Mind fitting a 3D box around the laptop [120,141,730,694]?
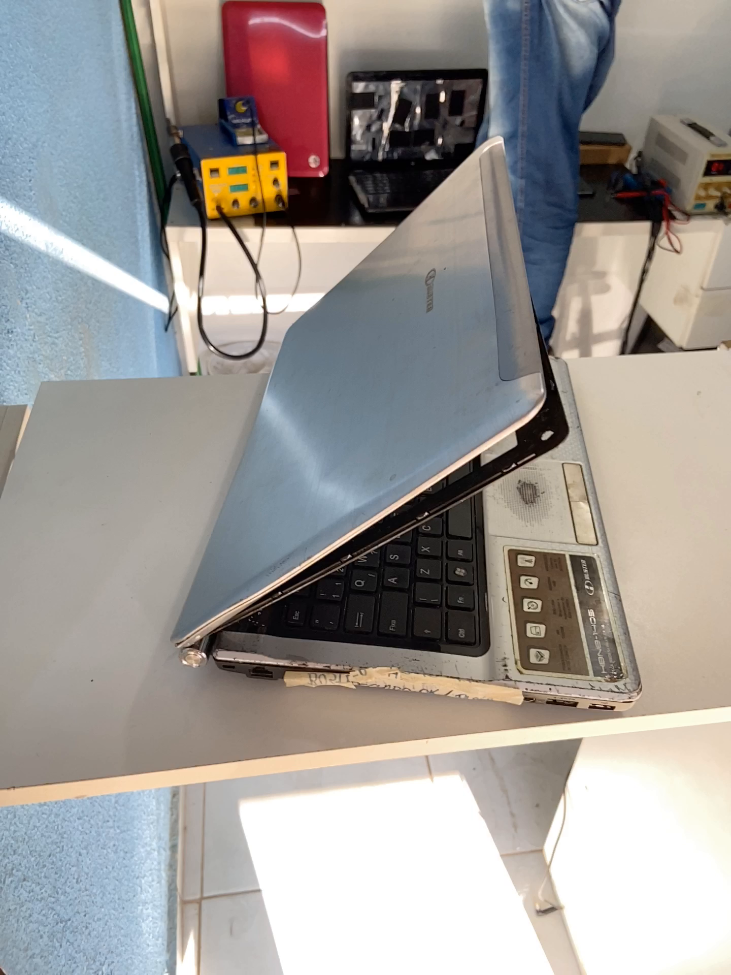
[{"bbox_3d":[0.036,-0.072,0.459,0.232,0.160,0.328,5,40,3],"label":"laptop"}]
